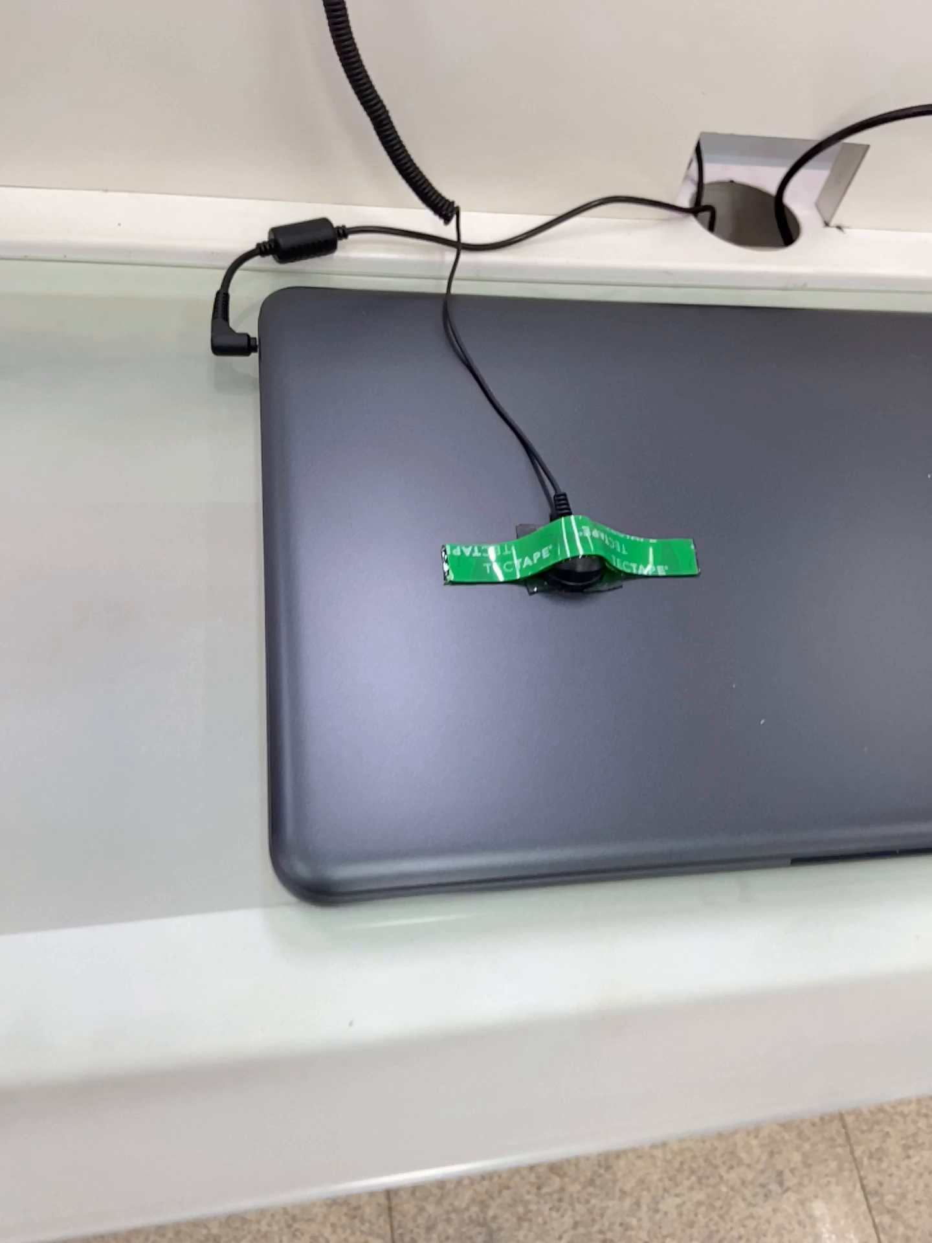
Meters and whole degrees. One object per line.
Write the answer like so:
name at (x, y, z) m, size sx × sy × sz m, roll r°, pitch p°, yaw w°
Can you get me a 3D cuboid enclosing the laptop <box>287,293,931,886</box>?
laptop at (0.116, -0.033, 0.347) m, size 0.351 × 0.001 × 0.233 m, roll -1°, pitch 57°, yaw -12°
